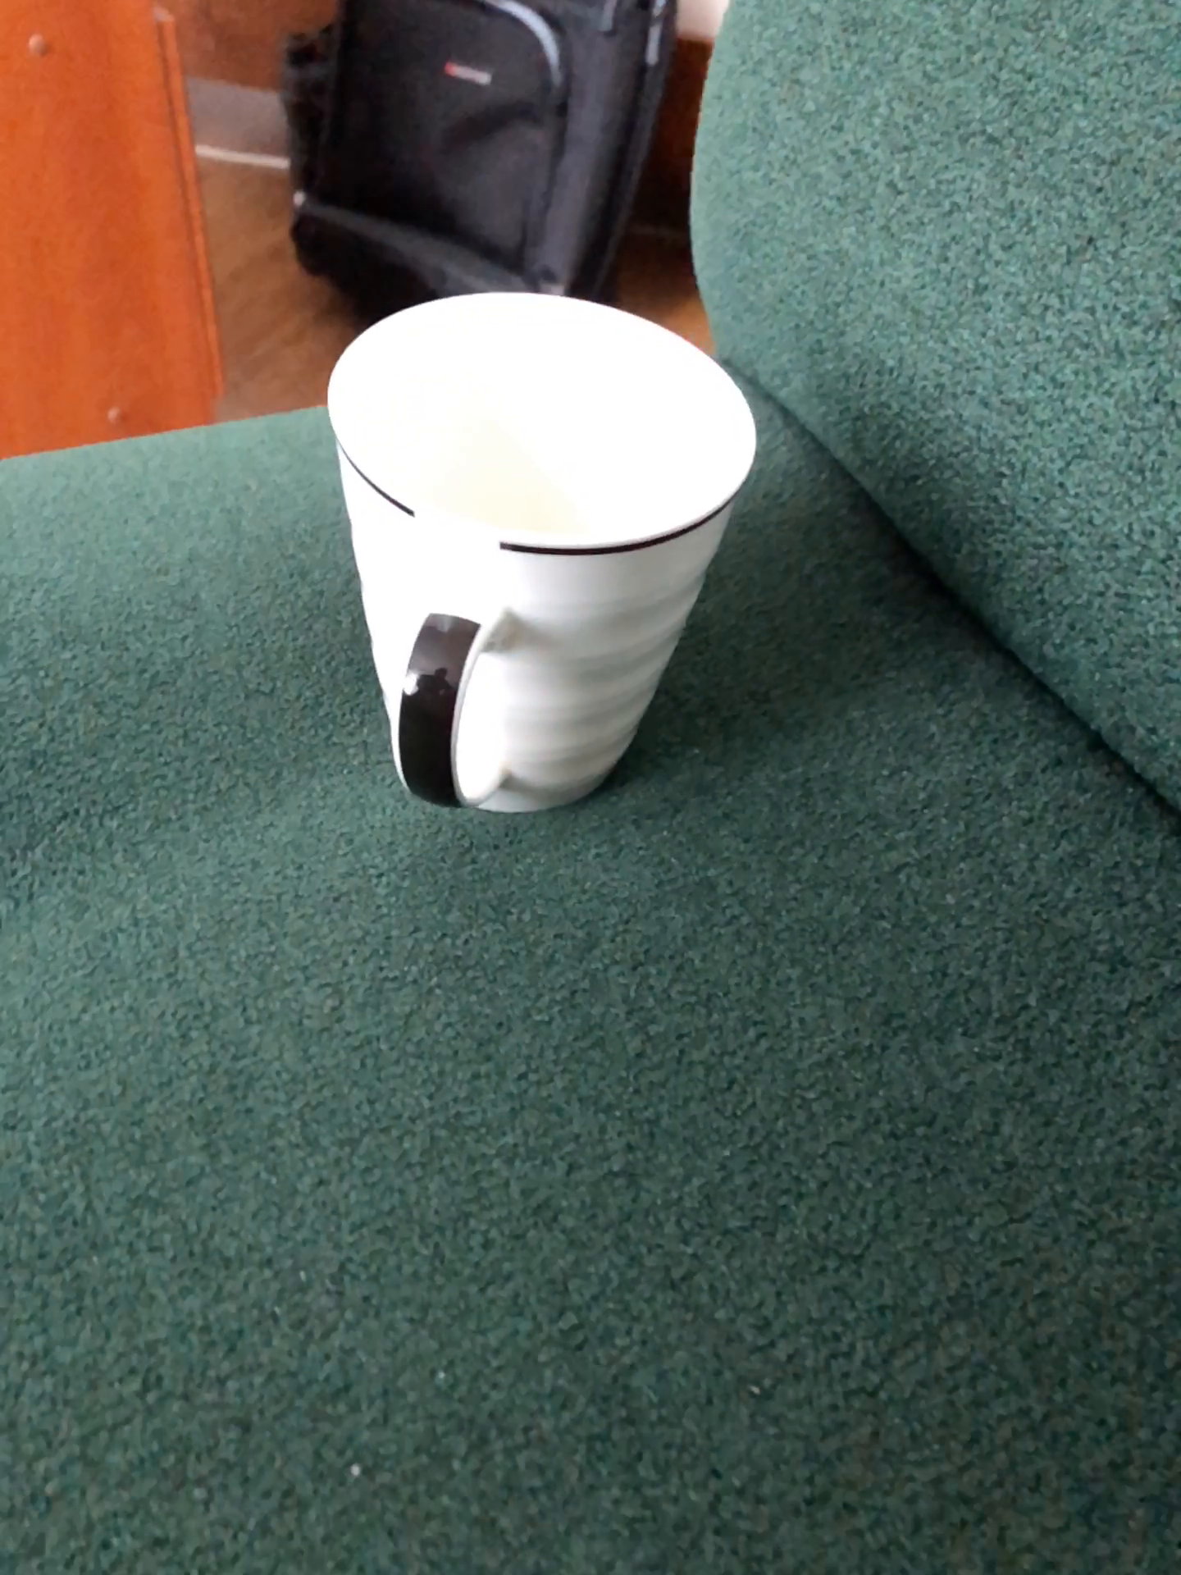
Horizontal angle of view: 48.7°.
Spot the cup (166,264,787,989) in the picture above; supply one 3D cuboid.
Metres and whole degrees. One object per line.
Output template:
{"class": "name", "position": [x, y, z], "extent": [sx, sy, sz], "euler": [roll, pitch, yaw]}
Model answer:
{"class": "cup", "position": [-0.018, -0.040, 0.300], "extent": [0.095, 0.095, 0.121], "euler": [13, 47, 6]}
